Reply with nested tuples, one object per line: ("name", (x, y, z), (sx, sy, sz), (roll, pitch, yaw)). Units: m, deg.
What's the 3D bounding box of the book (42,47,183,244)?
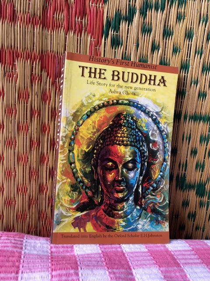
("book", (0.011, 0.009, 0.273), (0.146, 0.207, 0.030), (4, -3, -11))
